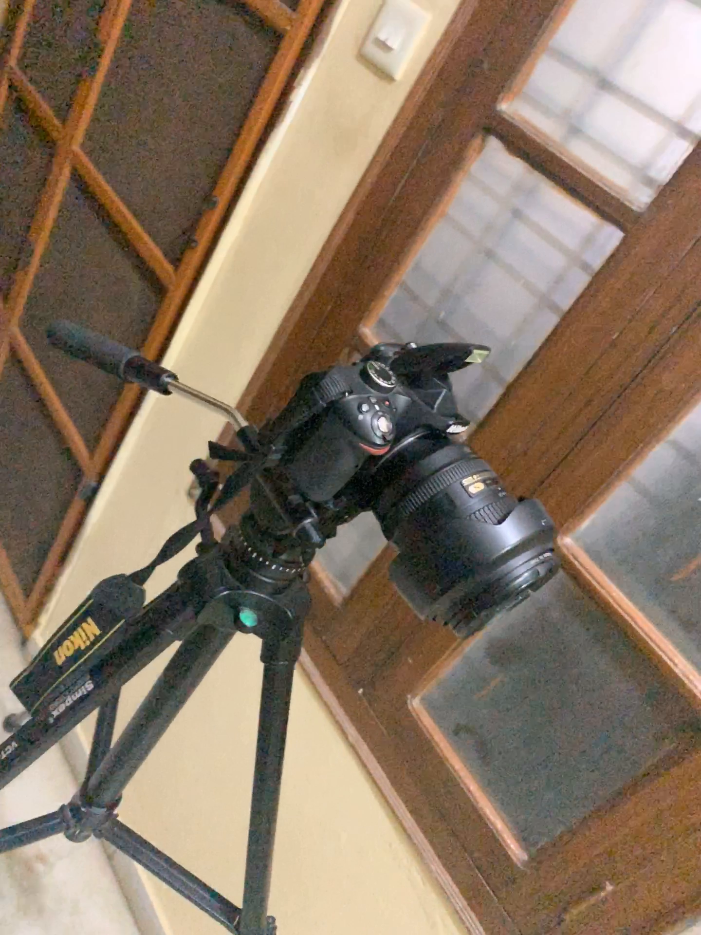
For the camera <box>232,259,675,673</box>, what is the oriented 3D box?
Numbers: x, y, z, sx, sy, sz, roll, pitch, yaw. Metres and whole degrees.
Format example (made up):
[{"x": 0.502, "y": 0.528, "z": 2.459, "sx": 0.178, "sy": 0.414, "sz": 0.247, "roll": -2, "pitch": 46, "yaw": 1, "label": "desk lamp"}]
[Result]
[{"x": 0.061, "y": -0.010, "z": 0.459, "sx": 0.151, "sy": 0.129, "sz": 0.200, "roll": -6, "pitch": 48, "yaw": -51, "label": "camera"}]
